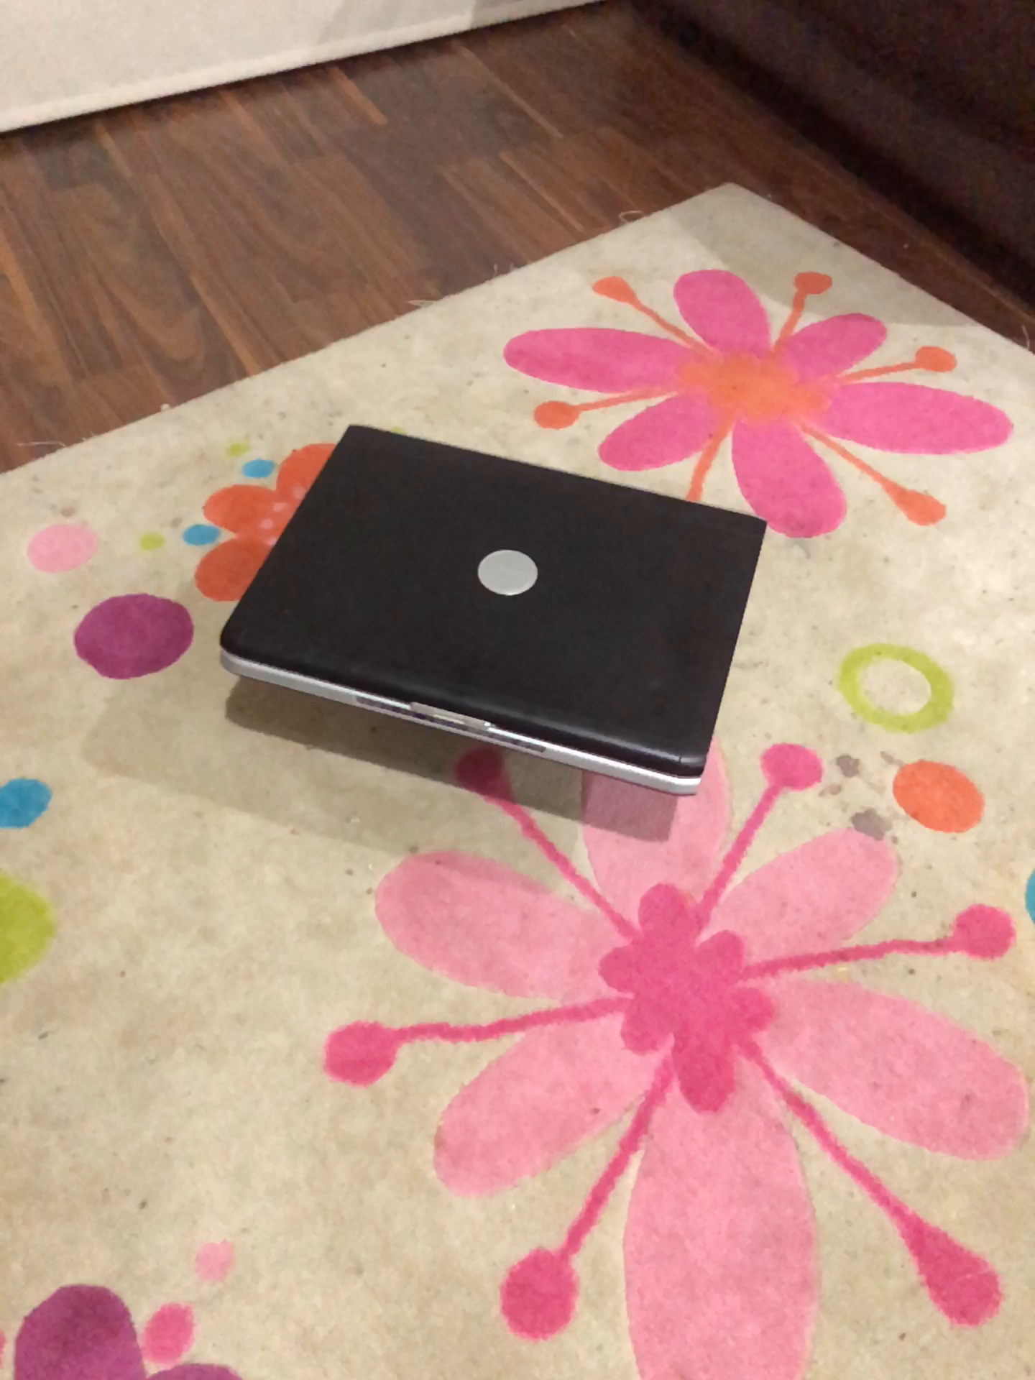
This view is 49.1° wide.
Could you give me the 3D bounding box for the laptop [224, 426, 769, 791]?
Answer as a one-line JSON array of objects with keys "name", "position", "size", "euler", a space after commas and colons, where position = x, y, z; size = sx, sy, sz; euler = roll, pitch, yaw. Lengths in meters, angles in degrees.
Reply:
[{"name": "laptop", "position": [-0.011, -0.077, 0.847], "size": [0.353, 0.015, 0.233], "euler": [15, 58, 13]}]
